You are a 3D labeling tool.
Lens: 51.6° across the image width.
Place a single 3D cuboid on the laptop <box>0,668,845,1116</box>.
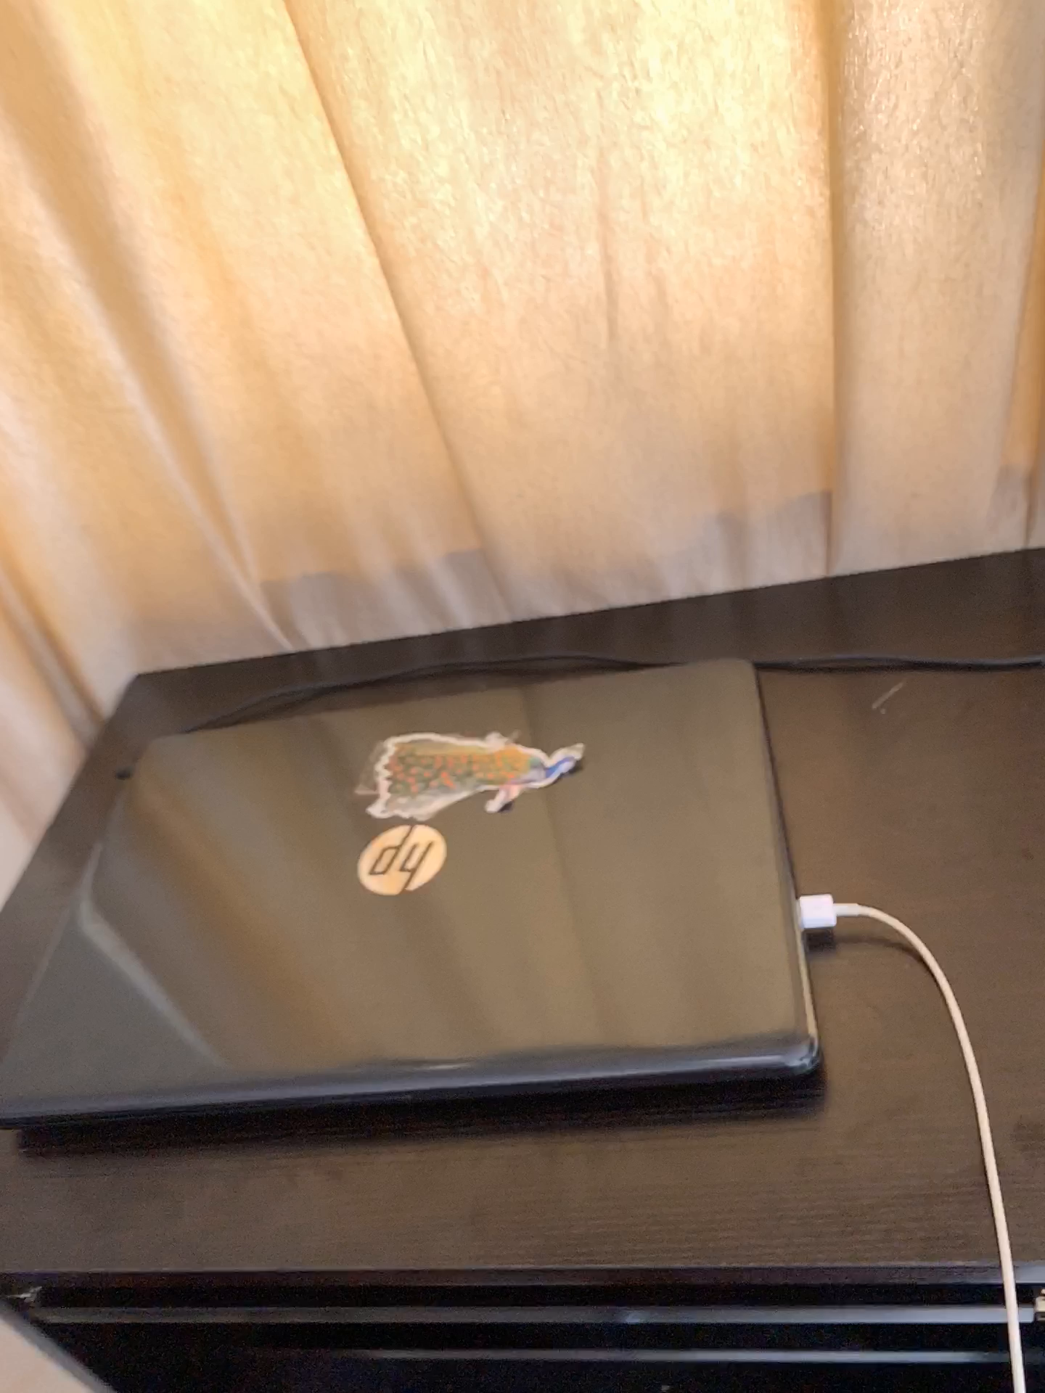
[{"bbox_3d":[-0.051,0.088,0.543,0.373,0.006,0.238,-8,39,12],"label":"laptop"}]
